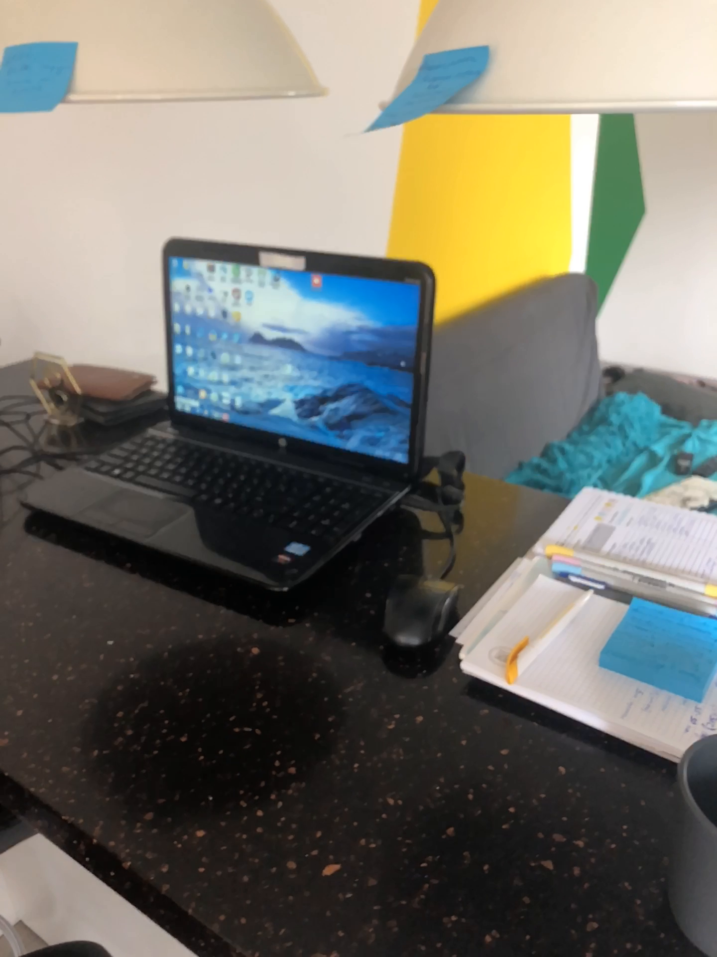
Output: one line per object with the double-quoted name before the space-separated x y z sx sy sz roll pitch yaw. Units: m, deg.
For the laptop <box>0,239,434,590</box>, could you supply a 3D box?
"laptop" -0.146 -0.097 0.829 0.361 0.217 0.268 14 30 29
